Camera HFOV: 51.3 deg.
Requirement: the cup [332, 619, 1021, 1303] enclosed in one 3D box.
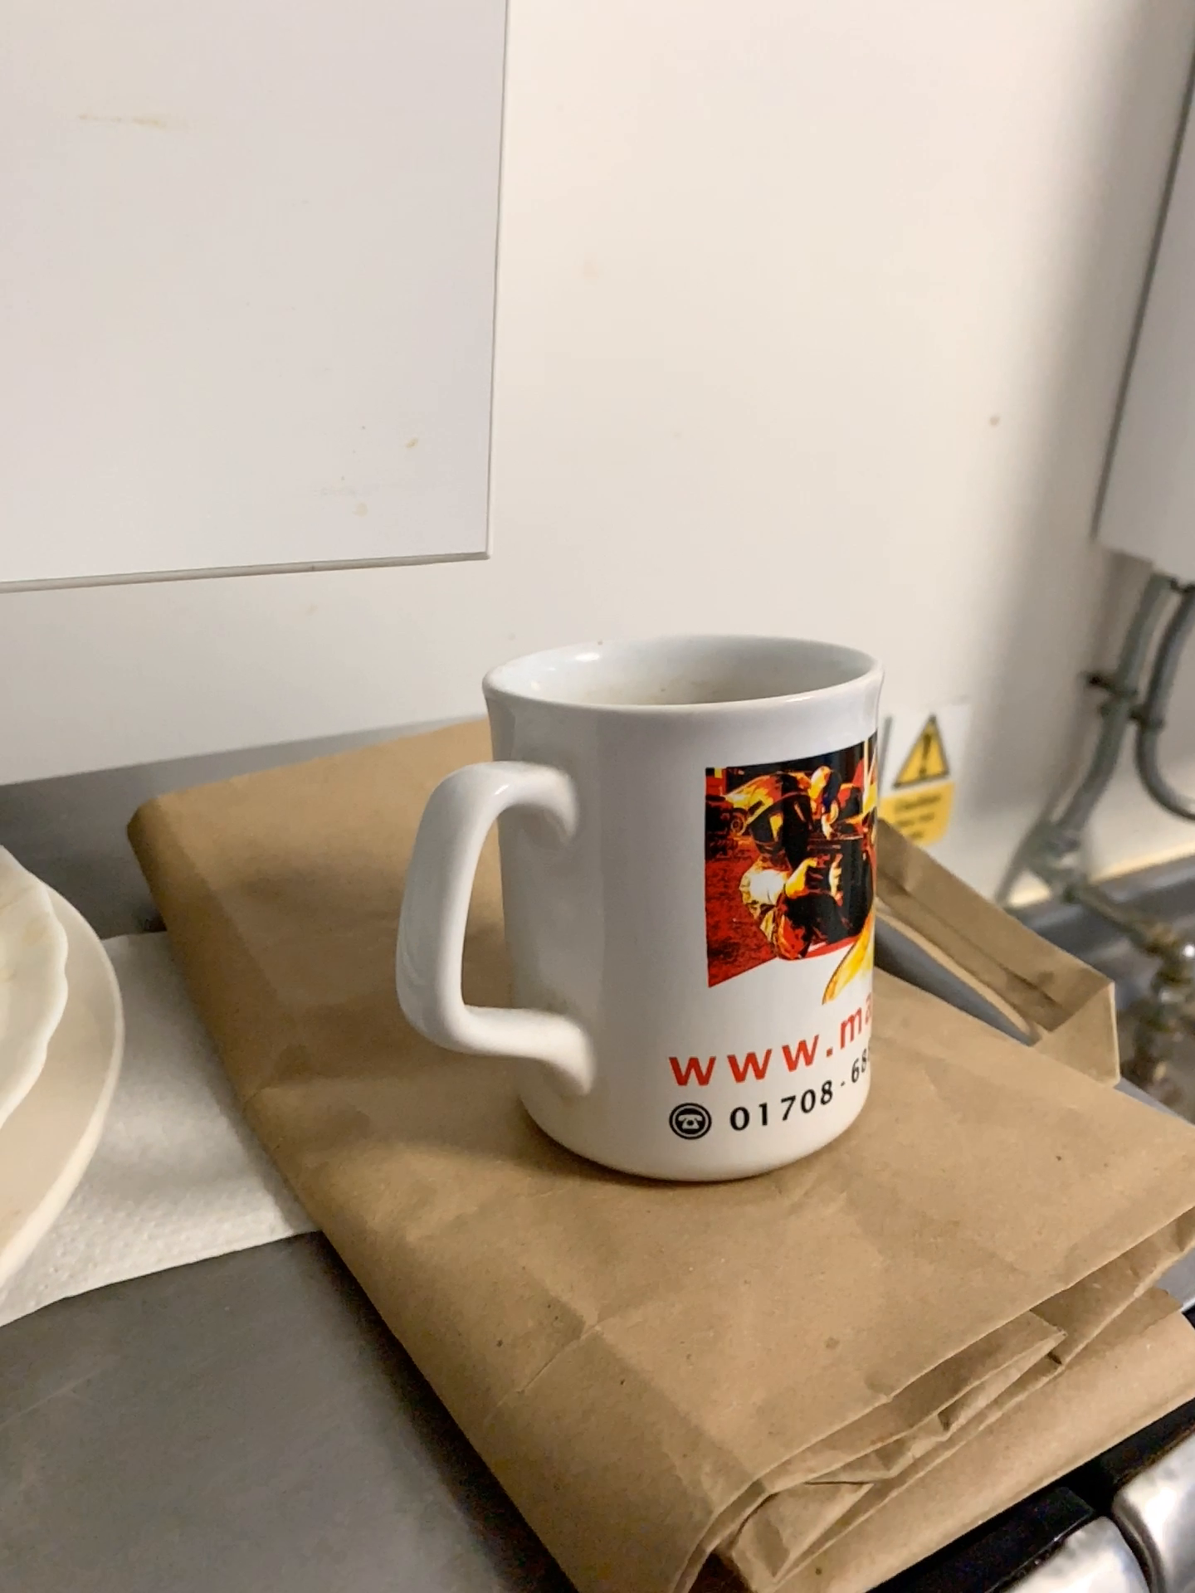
[{"bbox_3d":[0.015,0.019,0.240,0.100,0.088,0.078,-12,18,-35],"label":"cup"}]
